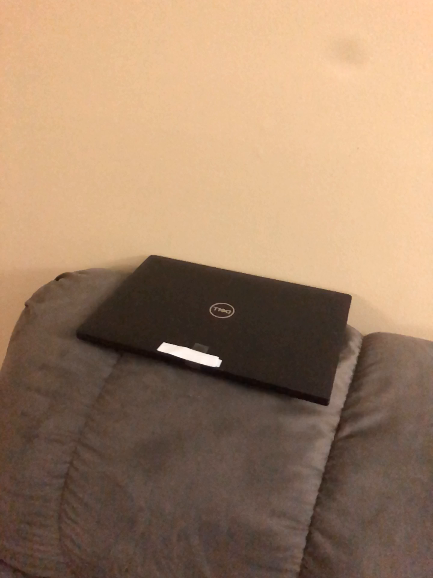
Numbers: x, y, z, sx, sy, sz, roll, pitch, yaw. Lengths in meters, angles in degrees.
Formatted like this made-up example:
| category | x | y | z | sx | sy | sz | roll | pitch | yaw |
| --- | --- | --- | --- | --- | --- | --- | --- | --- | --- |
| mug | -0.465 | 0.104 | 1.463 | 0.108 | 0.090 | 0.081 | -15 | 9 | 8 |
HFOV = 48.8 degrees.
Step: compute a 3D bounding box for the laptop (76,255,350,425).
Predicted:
| category | x | y | z | sx | sy | sz | roll | pitch | yaw |
| --- | --- | --- | --- | --- | --- | --- | --- | --- | --- |
| laptop | 0.004 | 0.047 | 0.659 | 0.326 | 0.030 | 0.215 | 13 | 35 | 18 |
